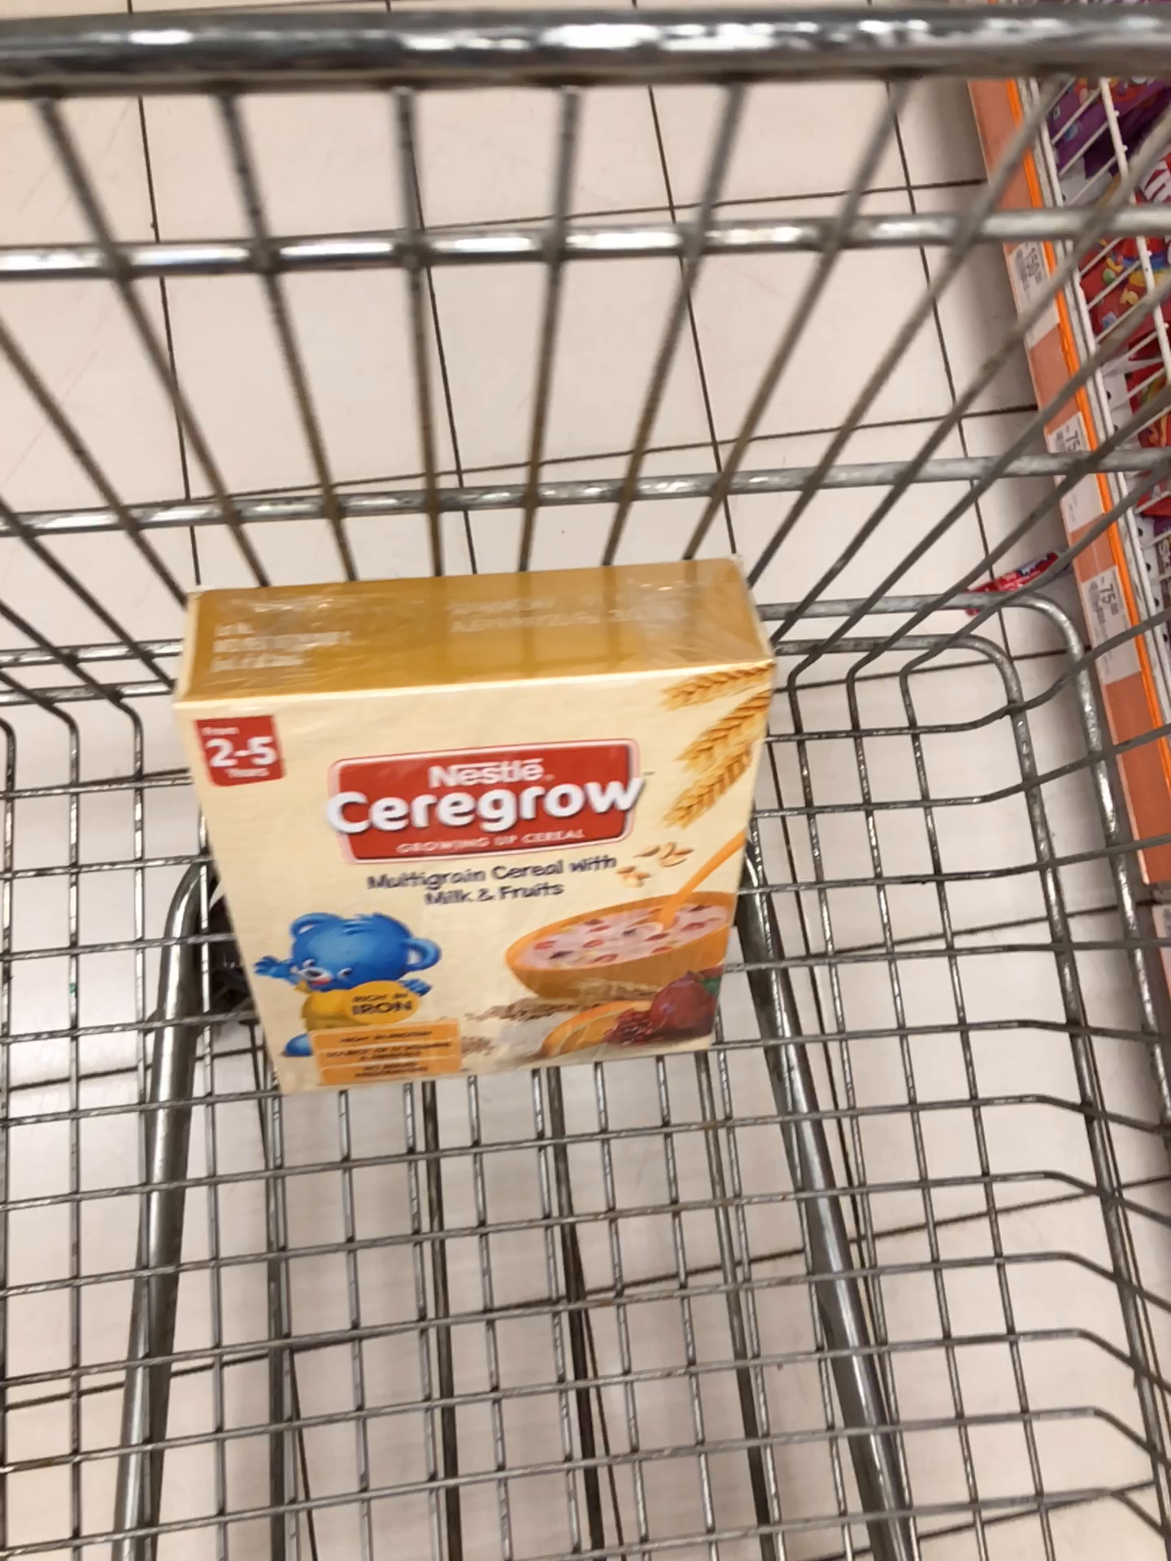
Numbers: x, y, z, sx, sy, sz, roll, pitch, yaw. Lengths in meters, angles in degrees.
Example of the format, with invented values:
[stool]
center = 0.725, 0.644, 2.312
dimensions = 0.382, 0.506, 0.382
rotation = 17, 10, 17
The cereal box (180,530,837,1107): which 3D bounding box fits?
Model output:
[cereal box]
center = -0.022, 0.021, 0.399
dimensions = 0.160, 0.190, 0.050
rotation = -5, 46, -7
